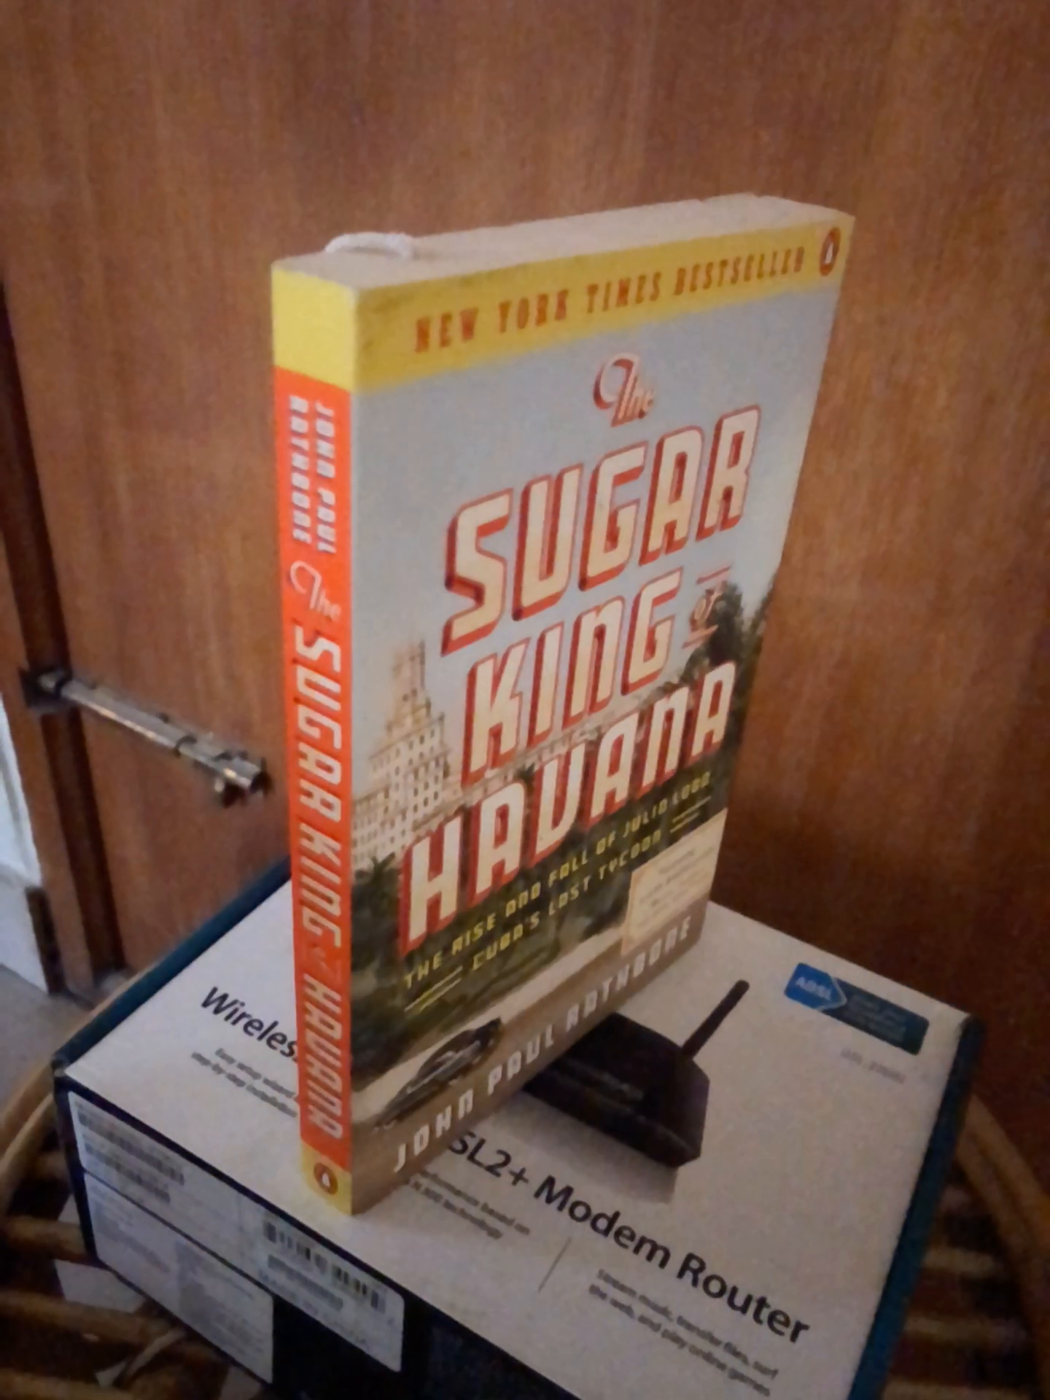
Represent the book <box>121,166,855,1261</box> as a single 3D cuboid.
[{"bbox_3d":[0.002,0.003,0.261,0.030,0.209,0.150,29,41,35],"label":"book"}]
